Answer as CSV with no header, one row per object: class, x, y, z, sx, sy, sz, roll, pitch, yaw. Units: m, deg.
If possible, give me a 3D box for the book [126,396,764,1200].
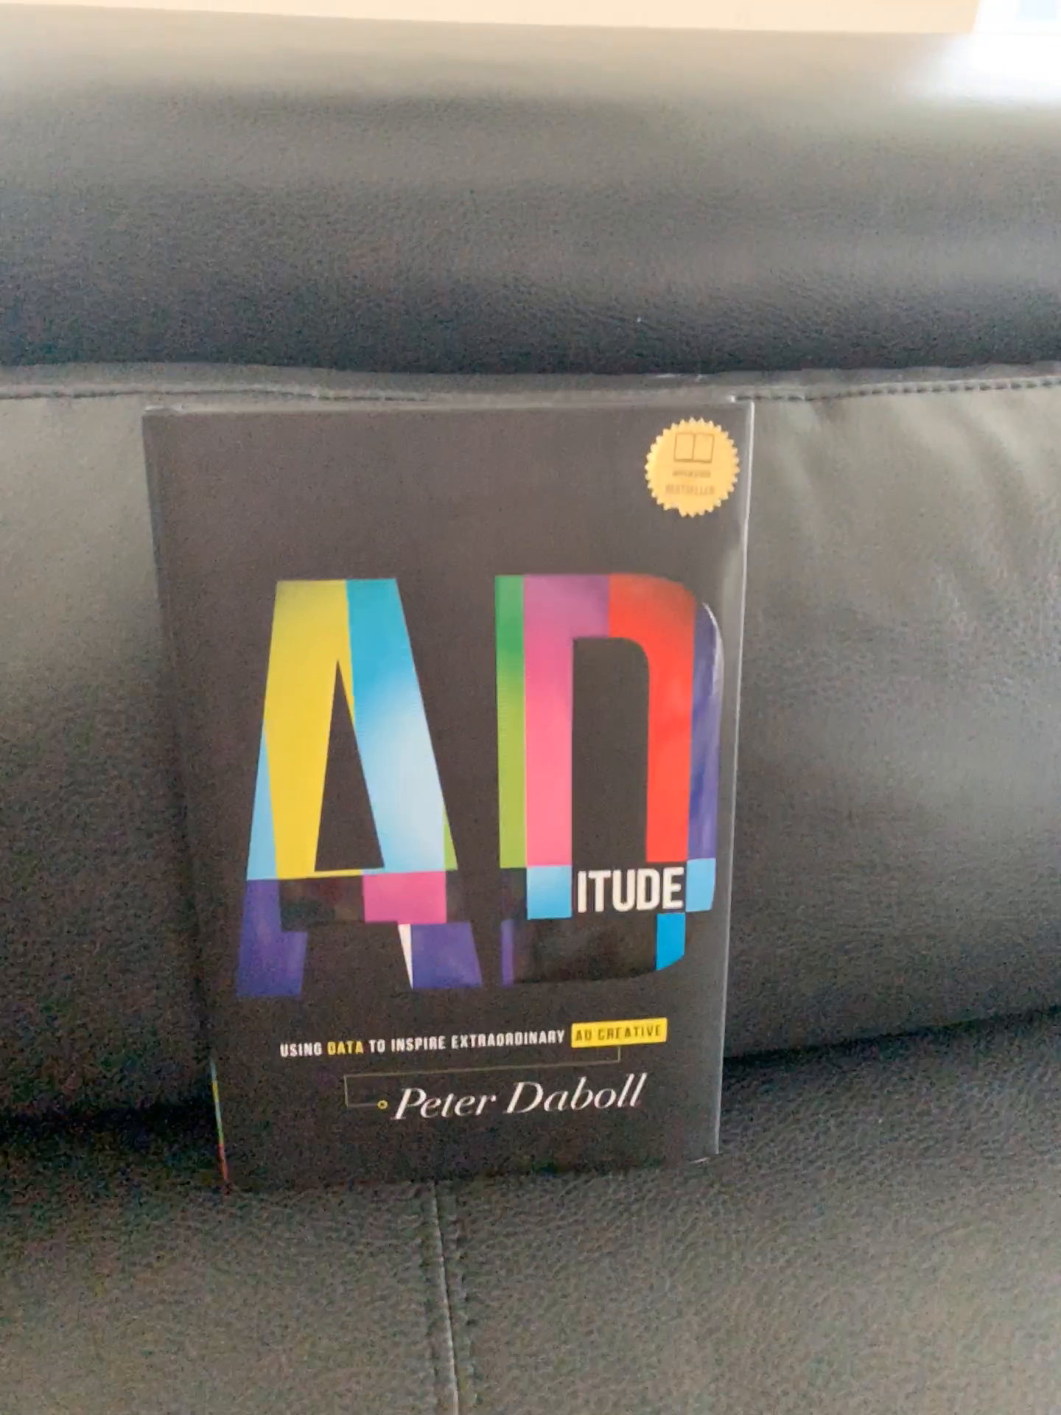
book,-0.019,0.033,0.321,0.160,0.235,0.025,-2,17,-4
